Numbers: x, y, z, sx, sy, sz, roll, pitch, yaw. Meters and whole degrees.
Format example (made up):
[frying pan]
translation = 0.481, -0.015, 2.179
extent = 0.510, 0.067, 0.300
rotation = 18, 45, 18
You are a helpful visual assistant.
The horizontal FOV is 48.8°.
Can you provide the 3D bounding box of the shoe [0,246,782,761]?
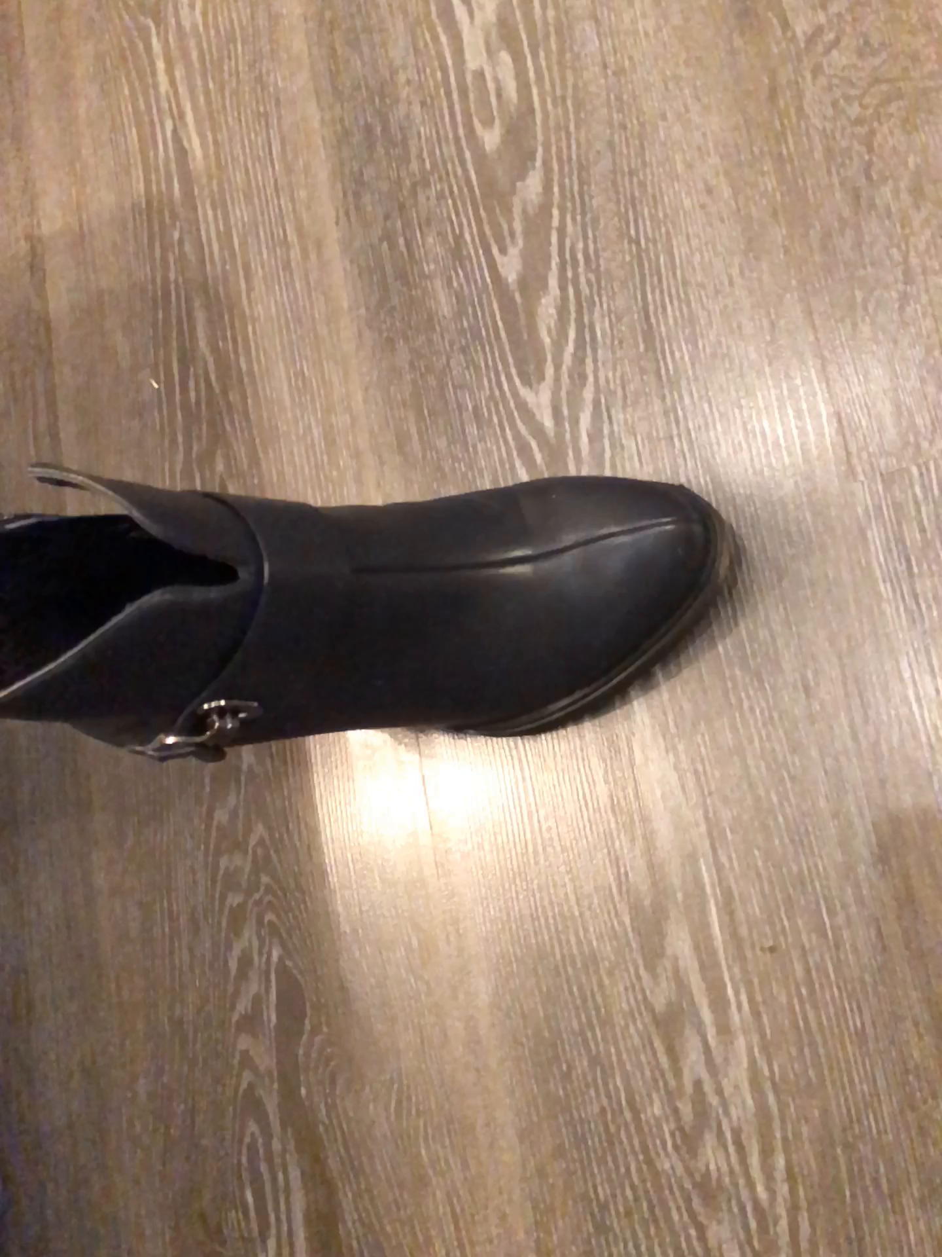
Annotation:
[shoe]
translation = -0.034, -0.011, 0.339
extent = 0.221, 0.179, 0.100
rotation = -6, 81, 29
